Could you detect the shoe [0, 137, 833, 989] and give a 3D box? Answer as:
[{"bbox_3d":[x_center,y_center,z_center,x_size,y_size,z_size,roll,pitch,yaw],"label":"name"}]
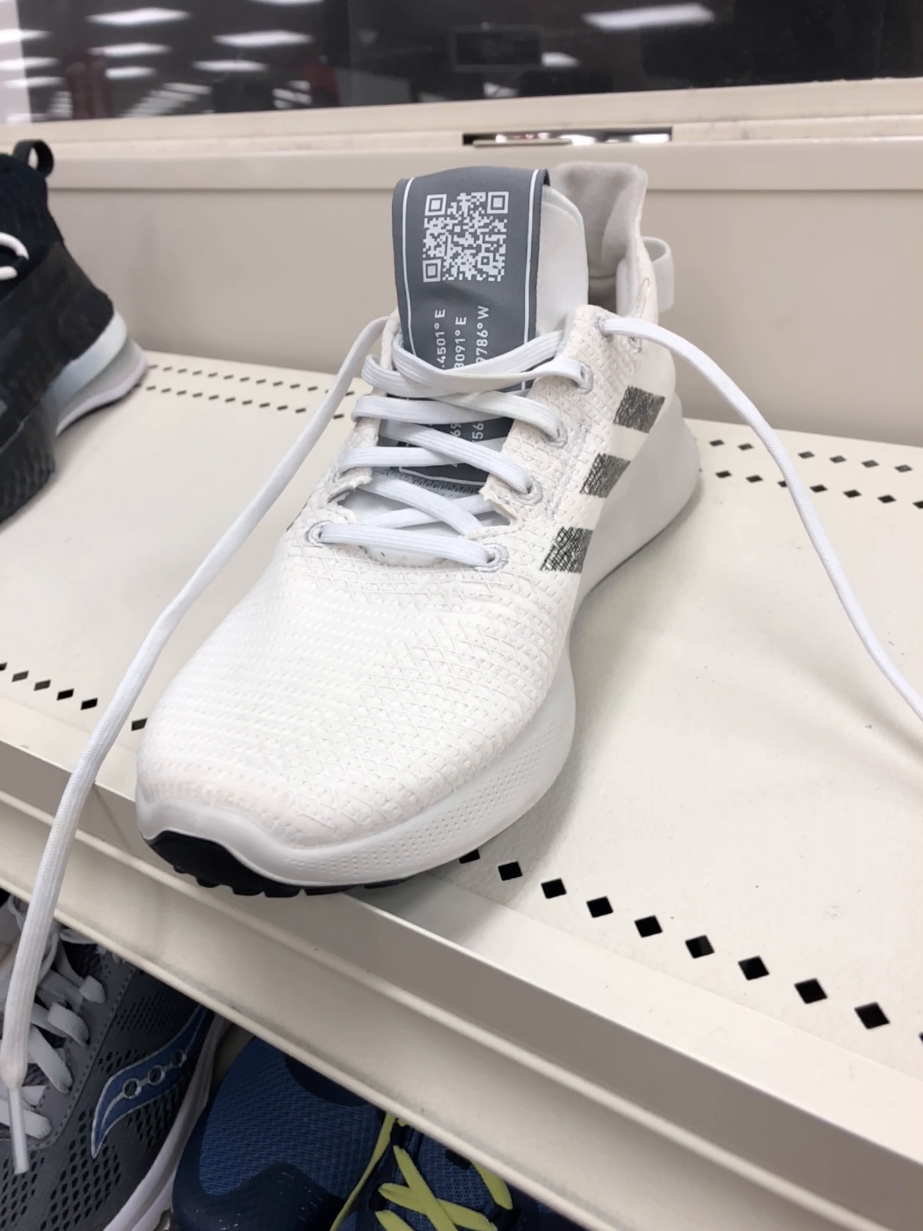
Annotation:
[{"bbox_3d":[0.017,-0.079,0.343,0.128,0.139,0.382,11,28,25],"label":"shoe"}]
